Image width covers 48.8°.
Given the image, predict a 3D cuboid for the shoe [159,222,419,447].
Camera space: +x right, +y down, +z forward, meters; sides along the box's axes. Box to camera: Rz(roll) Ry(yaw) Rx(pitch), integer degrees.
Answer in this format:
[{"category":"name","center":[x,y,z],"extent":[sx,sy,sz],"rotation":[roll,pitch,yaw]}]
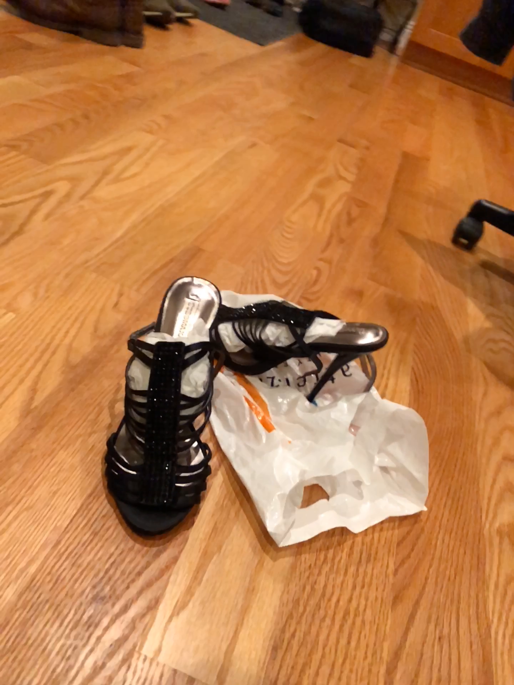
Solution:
[{"category":"shoe","center":[0.030,-0.012,0.566],"extent":[0.217,0.112,0.092],"rotation":[26,35,7]}]

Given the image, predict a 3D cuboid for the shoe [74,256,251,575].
[{"category":"shoe","center":[-0.066,0.044,0.443],"extent":[0.090,0.112,0.219],"rotation":[13,35,-11]}]
